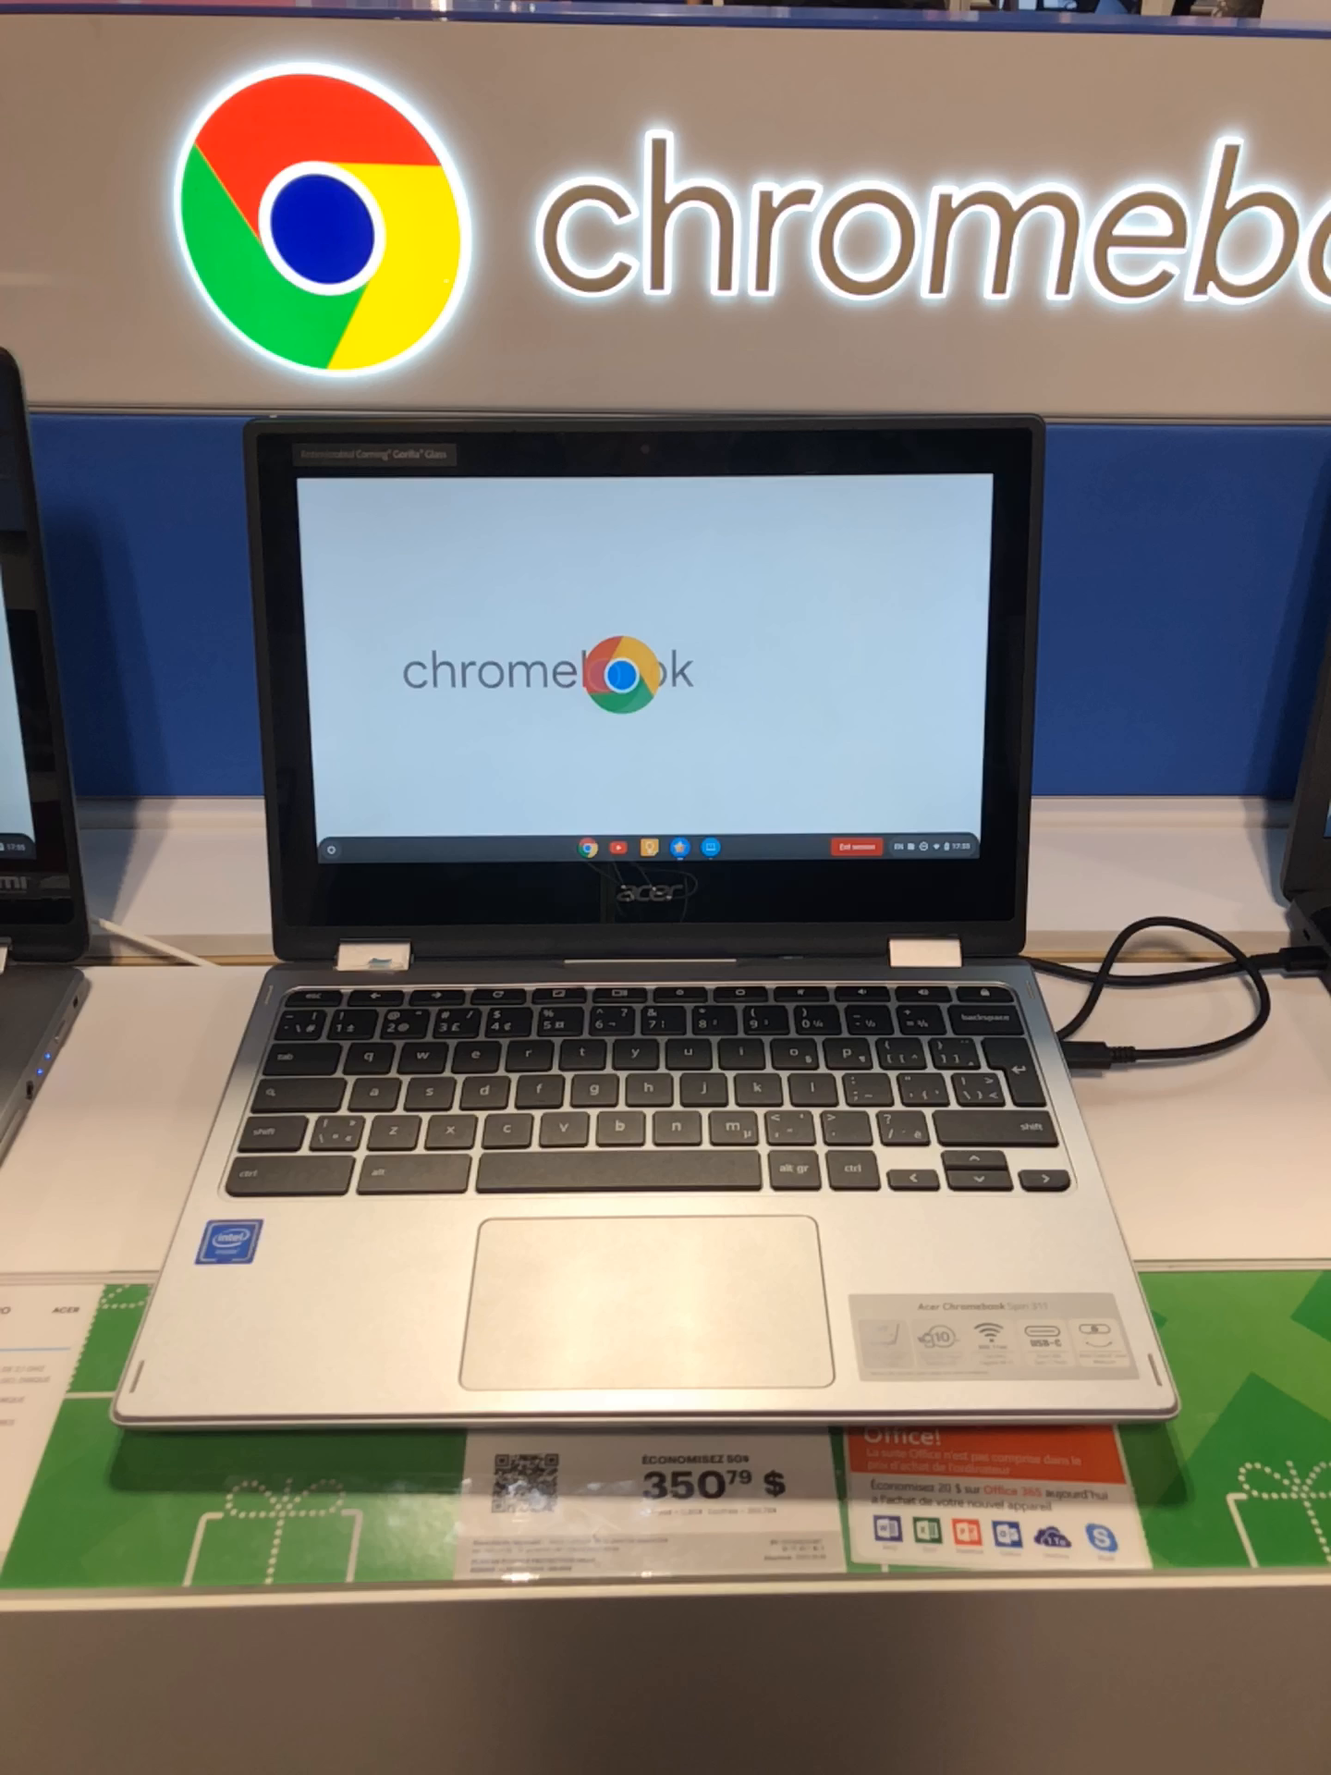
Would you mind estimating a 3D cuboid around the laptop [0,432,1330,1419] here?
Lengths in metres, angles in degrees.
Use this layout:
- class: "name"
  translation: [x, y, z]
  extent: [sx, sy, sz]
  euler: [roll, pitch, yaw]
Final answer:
- class: "laptop"
  translation: [-0.005, -0.009, 0.459]
  extent: [0.284, 0.181, 0.274]
  euler: [0, 34, -1]
